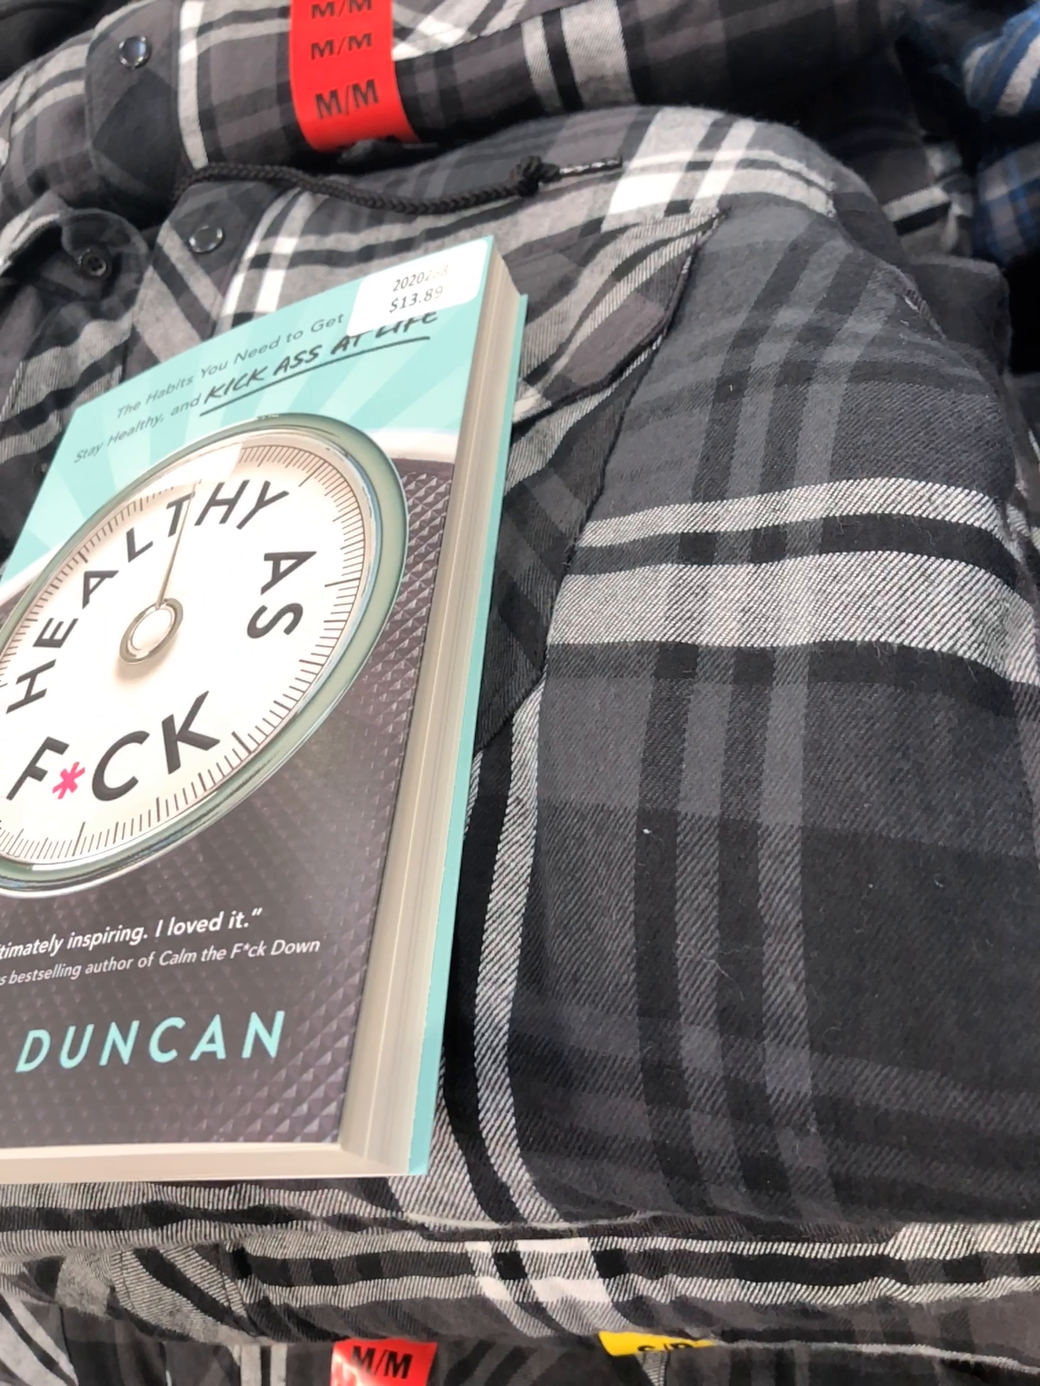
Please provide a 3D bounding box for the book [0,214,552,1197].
[{"bbox_3d":[-0.078,-0.009,0.279,0.157,0.028,0.238,-11,51,23],"label":"book"}]
